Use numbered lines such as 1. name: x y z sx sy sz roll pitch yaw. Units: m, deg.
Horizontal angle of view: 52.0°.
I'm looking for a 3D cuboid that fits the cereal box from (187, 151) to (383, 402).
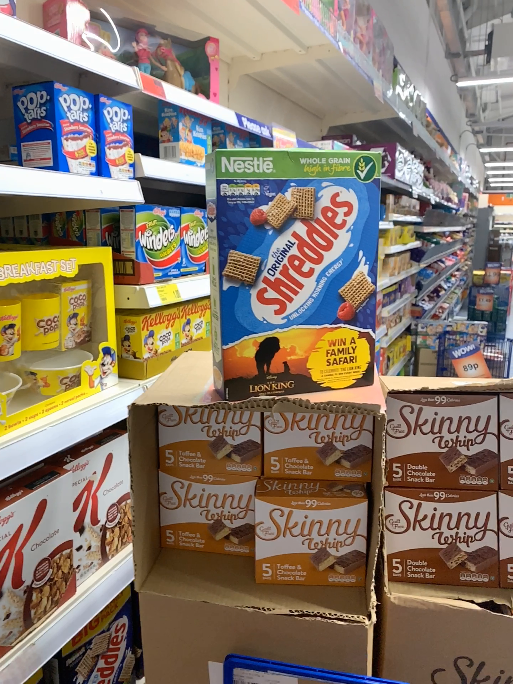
1. cereal box: 0.034 -0.080 0.624 0.210 0.269 0.070 -5 13 -15
